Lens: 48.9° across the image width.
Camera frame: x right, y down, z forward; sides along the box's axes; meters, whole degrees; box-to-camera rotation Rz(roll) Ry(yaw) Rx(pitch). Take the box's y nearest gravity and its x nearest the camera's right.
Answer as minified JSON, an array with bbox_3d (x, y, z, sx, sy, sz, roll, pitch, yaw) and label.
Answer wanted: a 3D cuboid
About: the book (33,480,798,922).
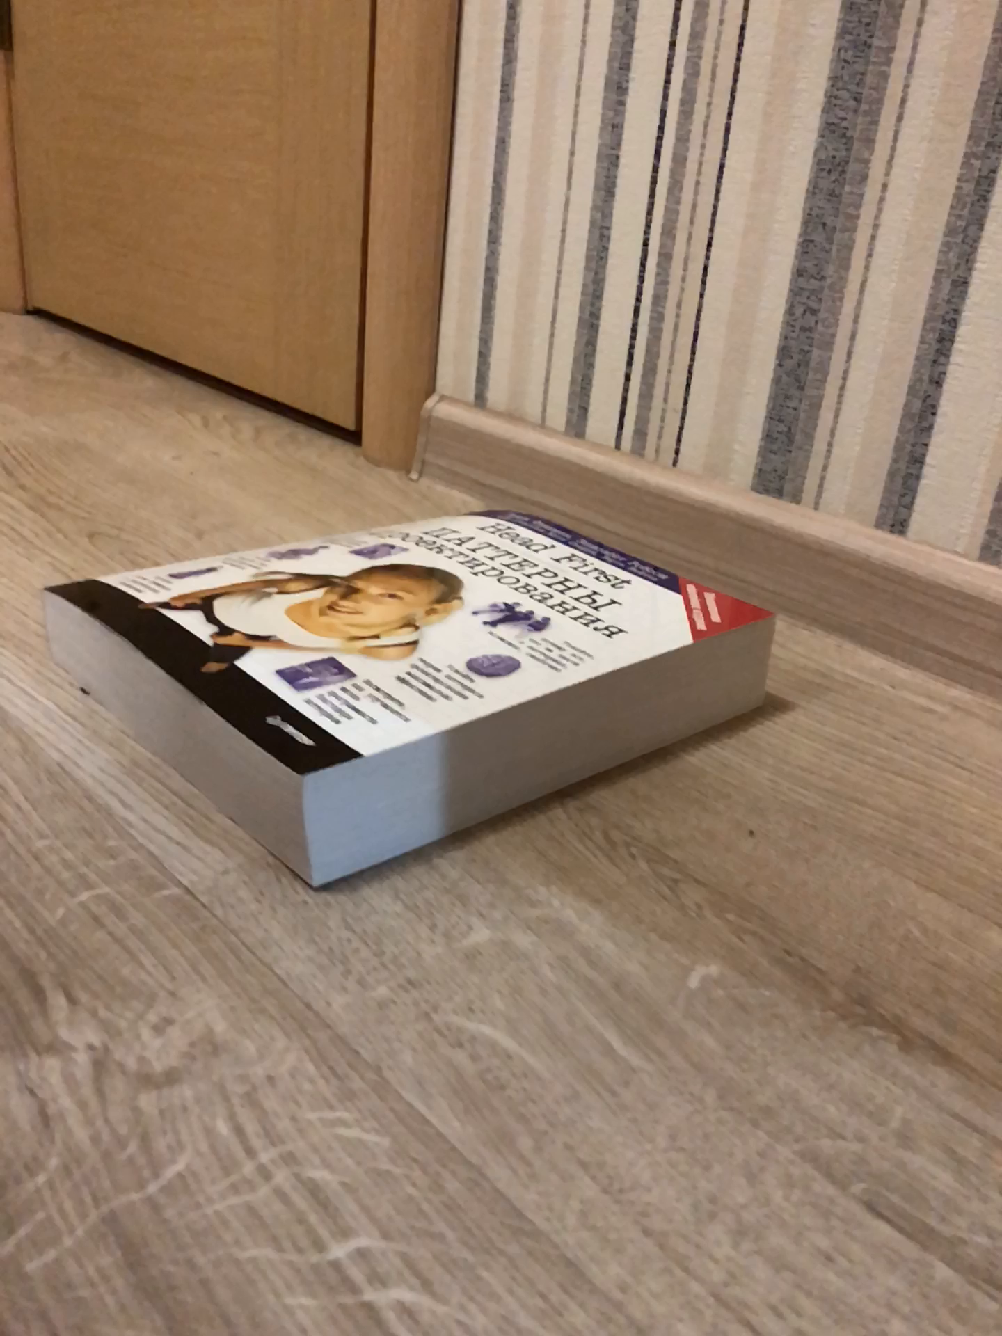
[{"bbox_3d":[-0.034,-0.012,0.467,0.241,0.049,0.206,-18,34,-39],"label":"book"}]
